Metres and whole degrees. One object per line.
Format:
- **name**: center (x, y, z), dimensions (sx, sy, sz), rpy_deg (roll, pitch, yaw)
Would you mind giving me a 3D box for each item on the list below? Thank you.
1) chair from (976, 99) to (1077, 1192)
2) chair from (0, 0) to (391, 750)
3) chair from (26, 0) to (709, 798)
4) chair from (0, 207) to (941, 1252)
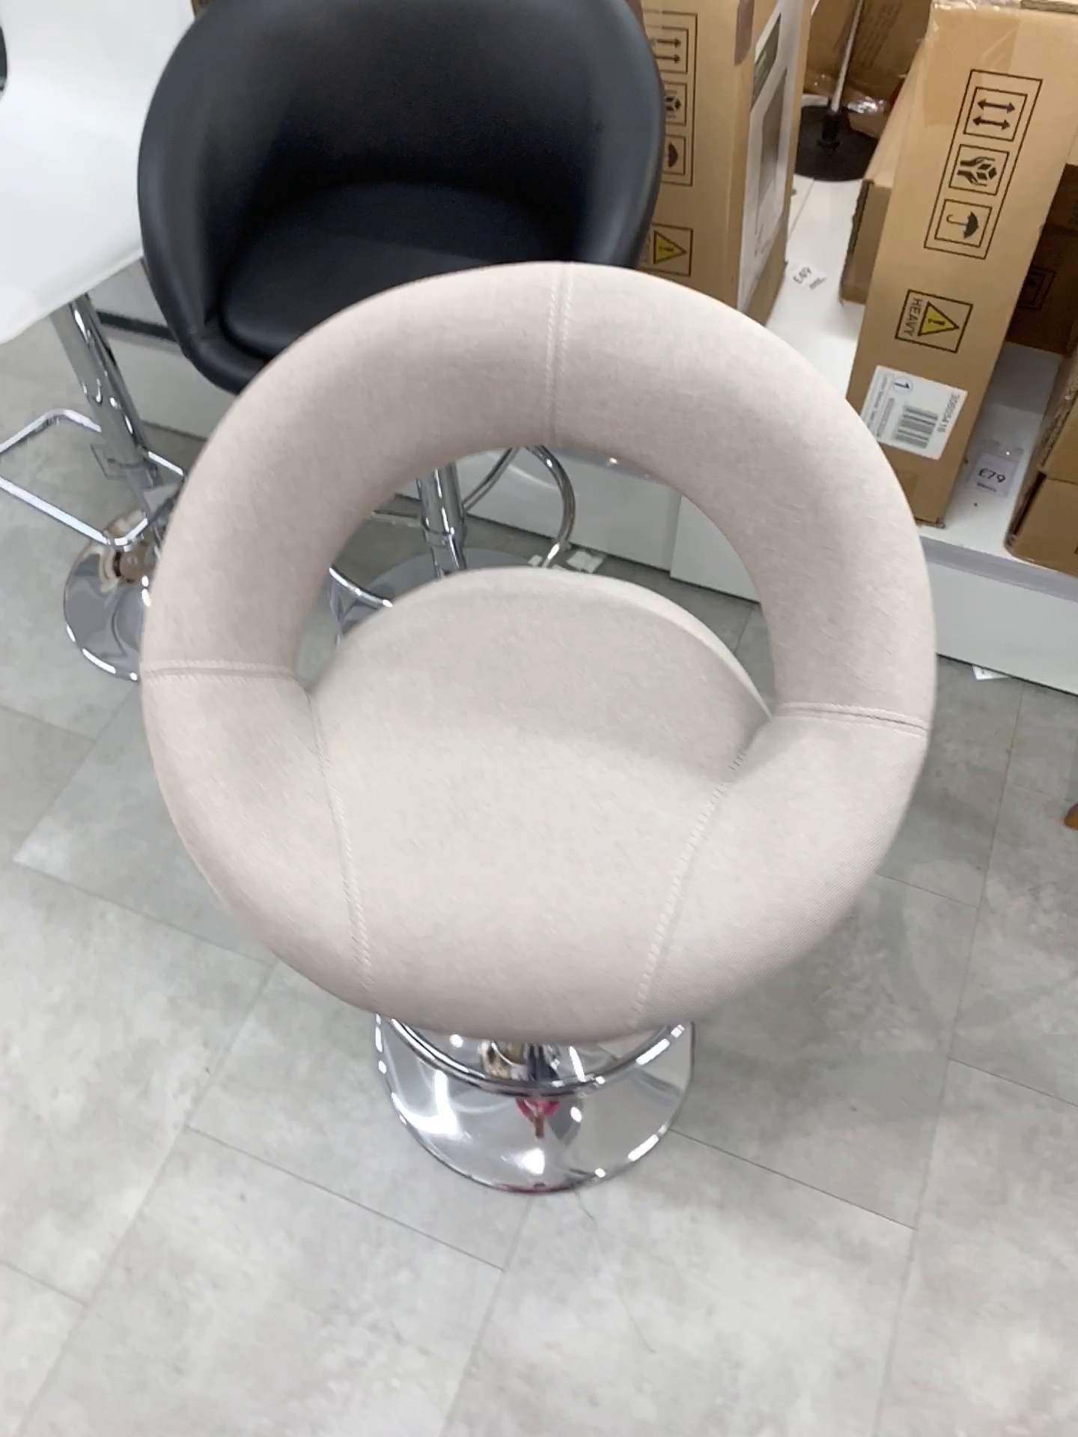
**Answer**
- **chair**: center (0.986, 0.006, 1.180), dimensions (0.535, 0.911, 0.576), rpy_deg (33, 64, 20)
- **chair**: center (-0.629, -0.523, 1.483), dimensions (0.535, 1.010, 0.486), rpy_deg (33, 64, 20)
- **chair**: center (-0.118, -0.383, 1.405), dimensions (0.494, 0.940, 0.487), rpy_deg (11, 58, 9)
- **chair**: center (-0.015, 0.130, 1.053), dimensions (0.484, 0.980, 0.467), rpy_deg (11, 58, 9)
